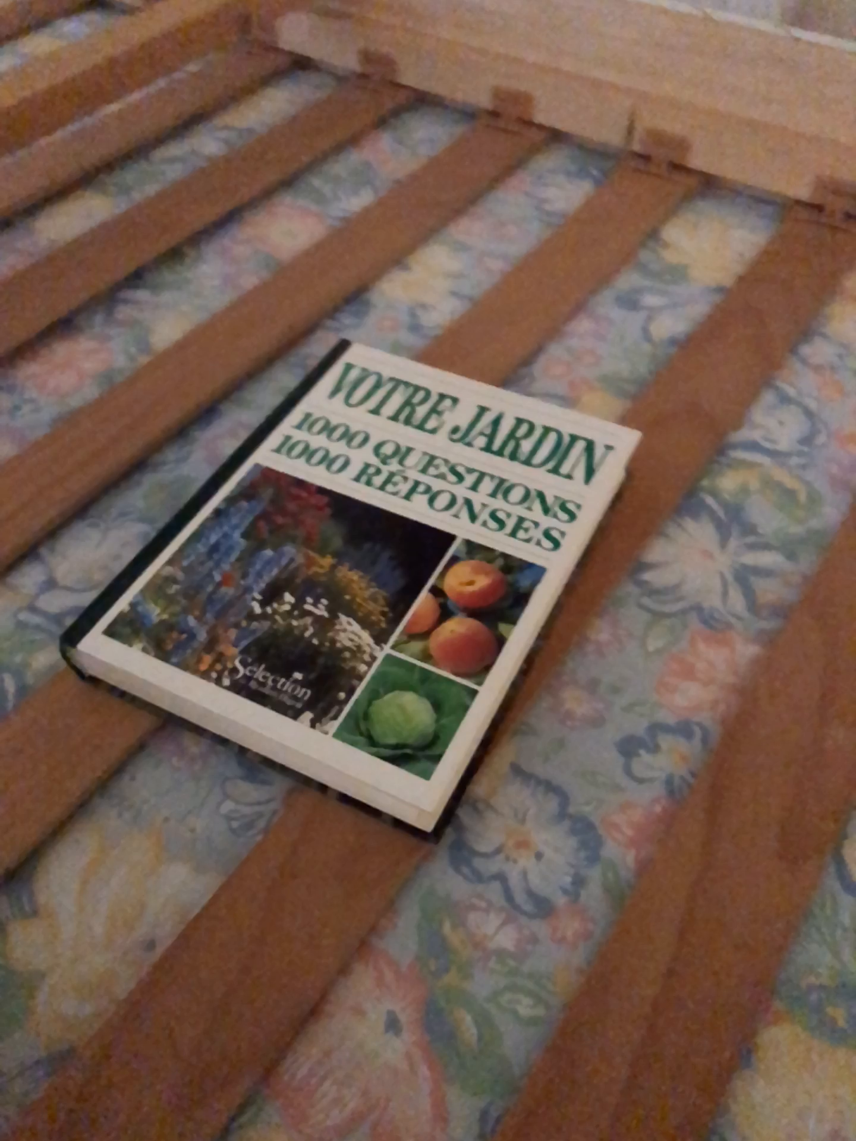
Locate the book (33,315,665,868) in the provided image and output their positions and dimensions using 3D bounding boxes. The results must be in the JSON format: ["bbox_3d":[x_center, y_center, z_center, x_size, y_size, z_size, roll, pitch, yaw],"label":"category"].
[{"bbox_3d":[-0.026,-0.016,0.508,0.220,0.050,0.271,21,53,18],"label":"book"}]
